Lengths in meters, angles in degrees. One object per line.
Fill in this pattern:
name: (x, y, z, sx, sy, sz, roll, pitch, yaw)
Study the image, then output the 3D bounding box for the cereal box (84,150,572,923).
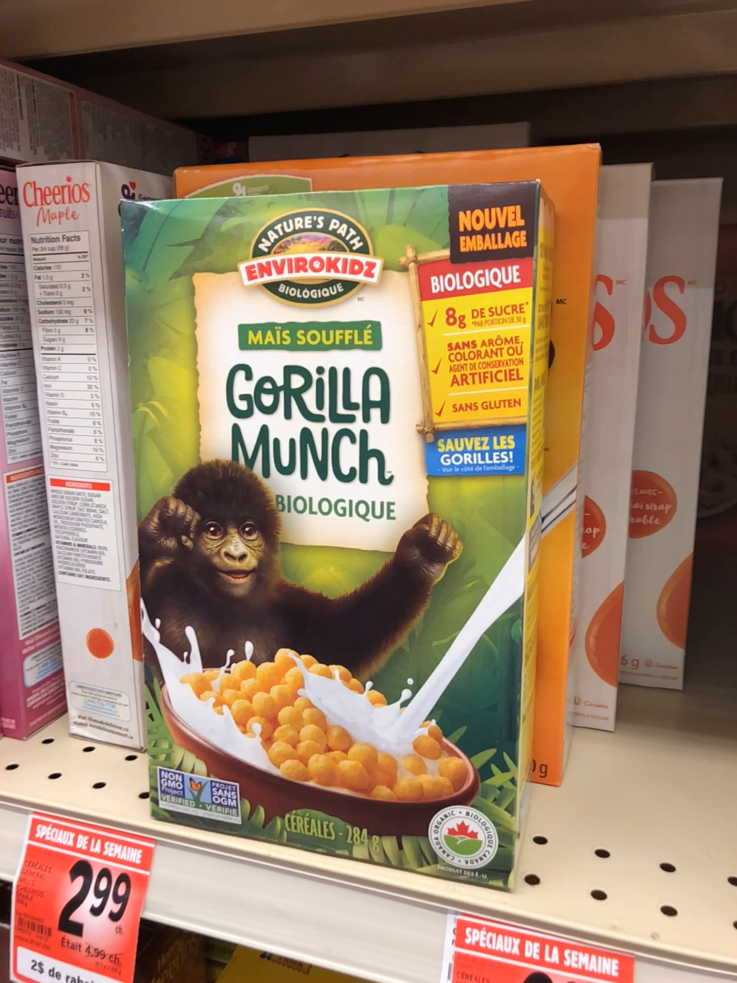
cereal box: (-0.011, 0.016, 0.314, 0.160, 0.259, 0.060, 3, 13, 17)
